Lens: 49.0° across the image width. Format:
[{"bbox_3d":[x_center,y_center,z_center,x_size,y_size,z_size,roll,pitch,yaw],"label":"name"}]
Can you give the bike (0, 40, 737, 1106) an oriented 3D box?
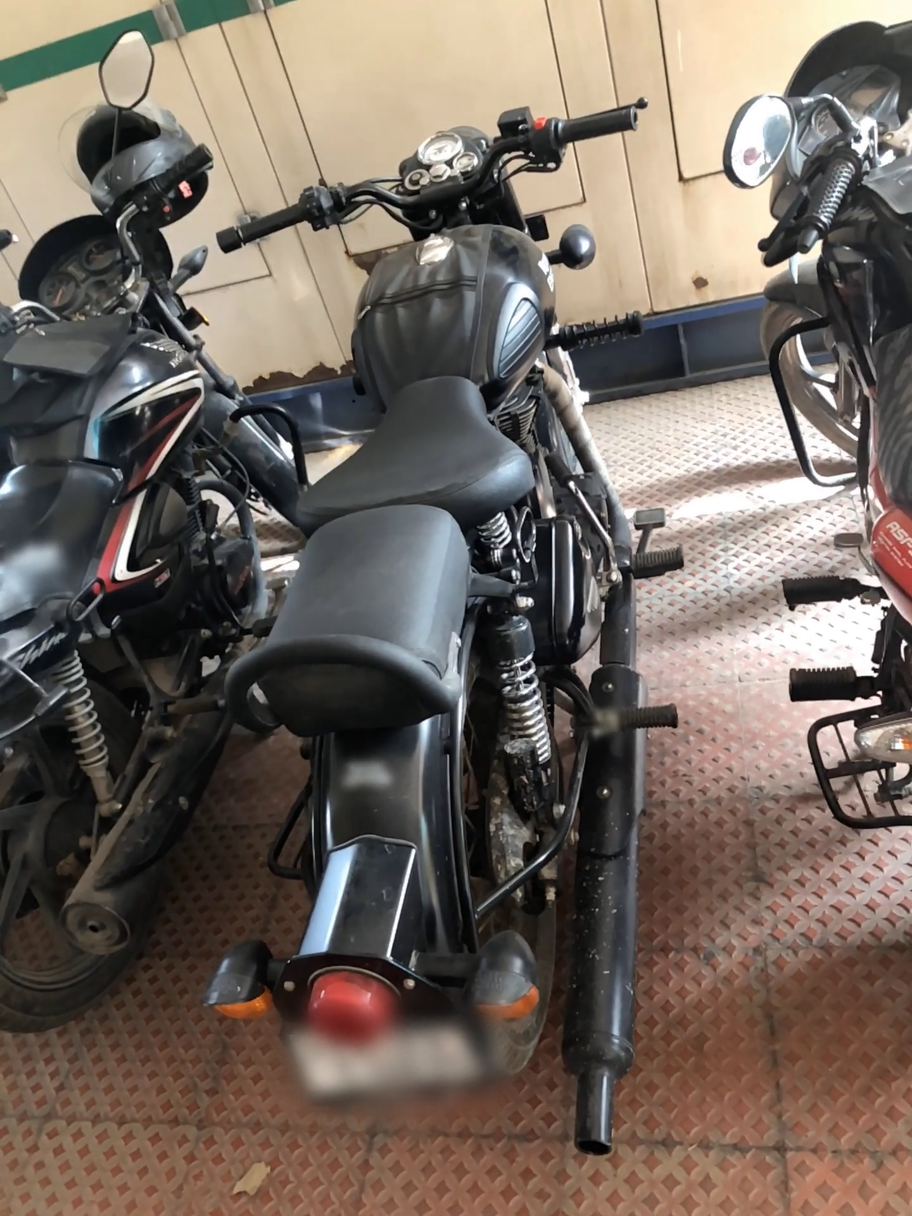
[{"bbox_3d":[-0.034,-0.208,1.759,0.709,0.919,1.695,-9,39,14],"label":"bike"}]
